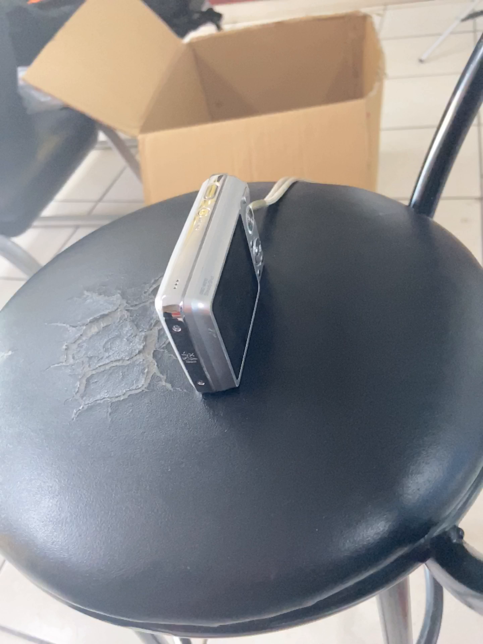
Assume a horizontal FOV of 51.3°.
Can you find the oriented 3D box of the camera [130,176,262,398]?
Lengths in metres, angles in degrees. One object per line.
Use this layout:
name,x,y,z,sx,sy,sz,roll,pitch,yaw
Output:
camera,-0.014,-0.019,0.221,0.026,0.044,0.093,0,47,15
